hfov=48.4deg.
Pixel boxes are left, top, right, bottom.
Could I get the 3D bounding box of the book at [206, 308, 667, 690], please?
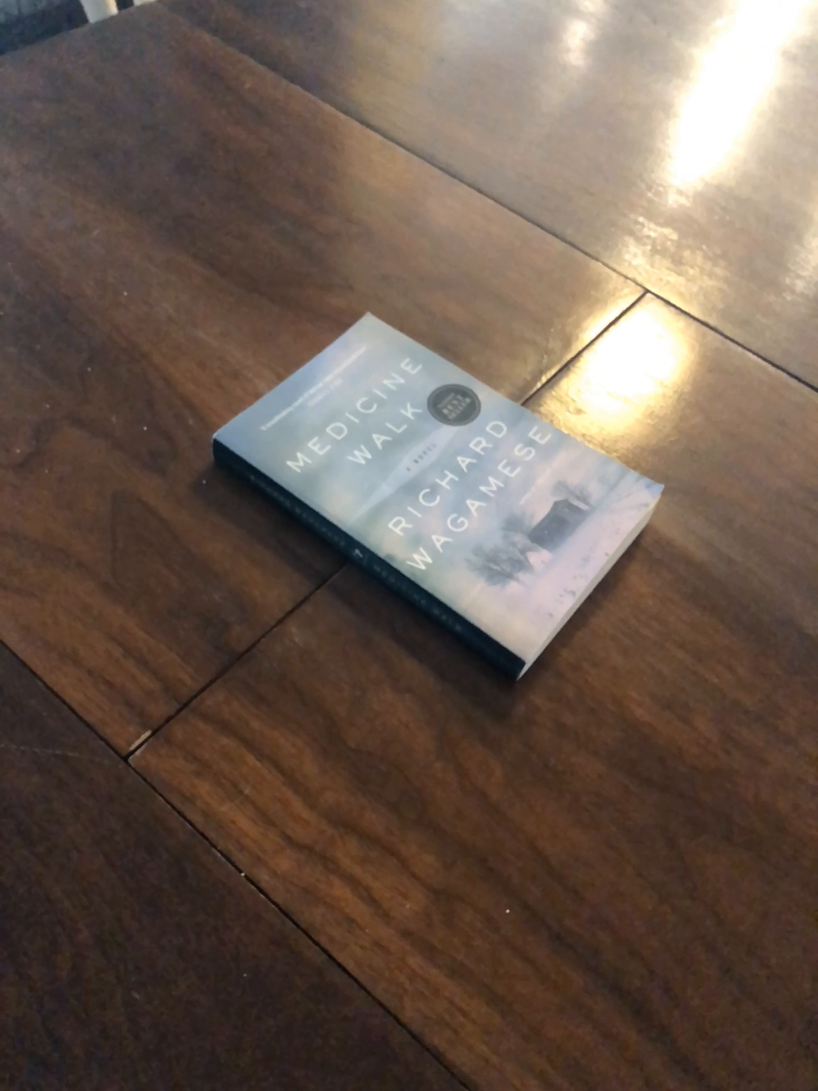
[{"bbox_3d":[0.015,-0.037,0.495,0.206,0.027,0.138,36,58,16],"label":"book"}]
